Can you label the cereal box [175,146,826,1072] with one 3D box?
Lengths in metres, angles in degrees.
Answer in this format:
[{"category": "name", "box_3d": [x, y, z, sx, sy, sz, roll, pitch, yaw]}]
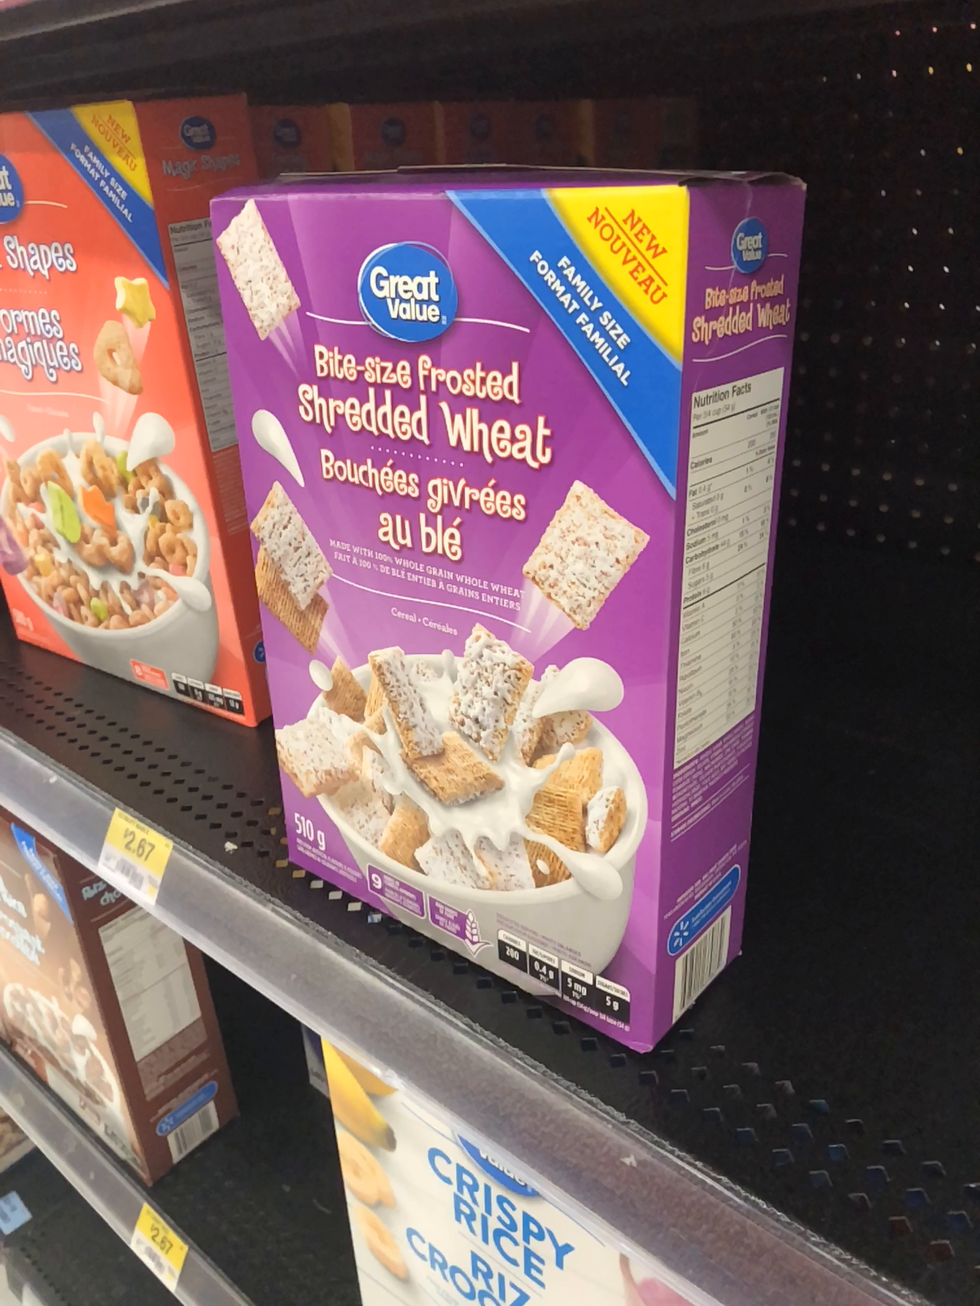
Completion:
[{"category": "cereal box", "box_3d": [-0.005, -0.026, 0.396, 0.210, 0.279, 0.070, 18, 30, 38]}]
